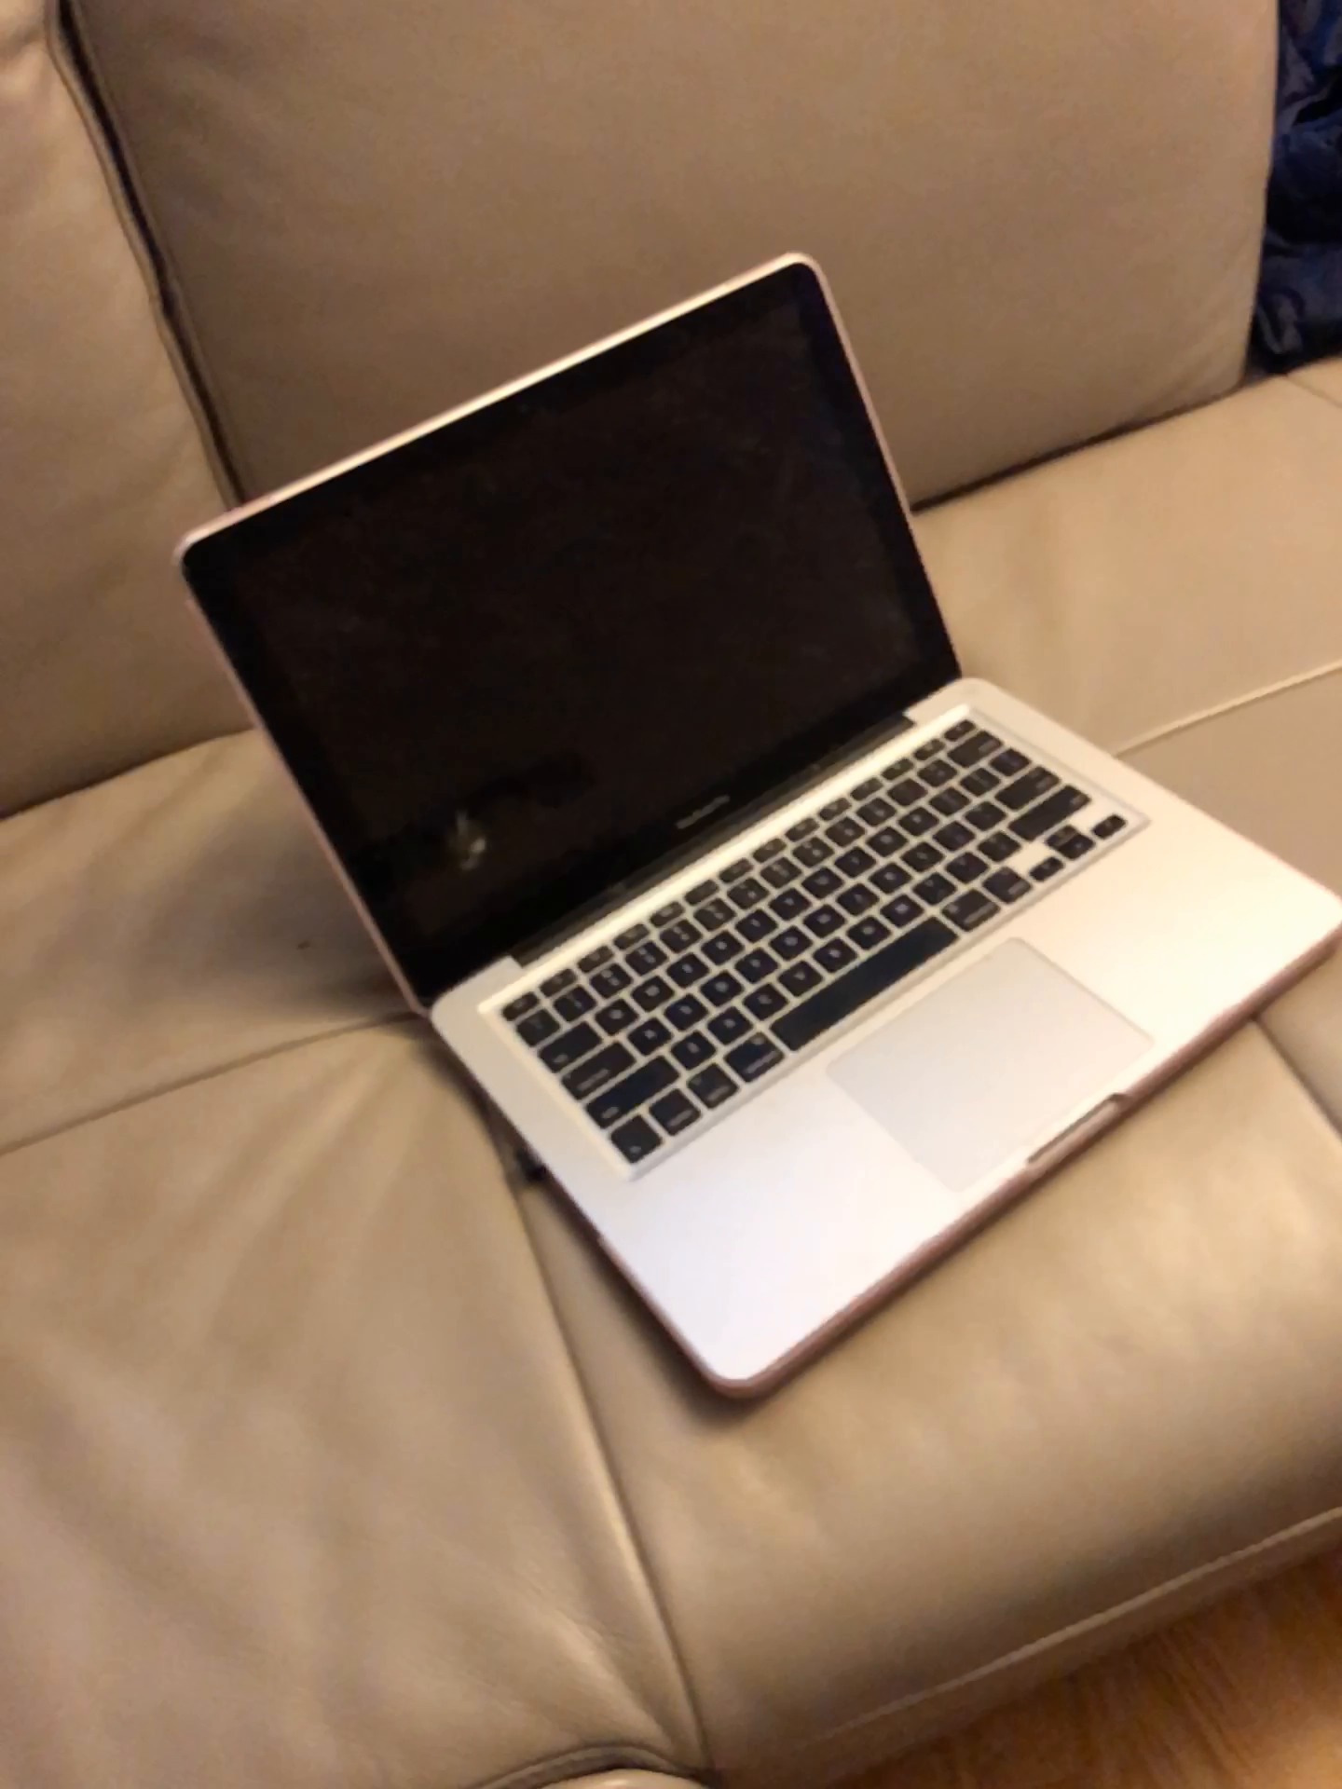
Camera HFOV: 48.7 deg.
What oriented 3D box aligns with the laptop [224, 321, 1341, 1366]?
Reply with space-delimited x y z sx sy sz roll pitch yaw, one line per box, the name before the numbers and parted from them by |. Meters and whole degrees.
laptop | 0.049 -0.050 0.574 0.305 0.177 0.307 -32 46 -18
